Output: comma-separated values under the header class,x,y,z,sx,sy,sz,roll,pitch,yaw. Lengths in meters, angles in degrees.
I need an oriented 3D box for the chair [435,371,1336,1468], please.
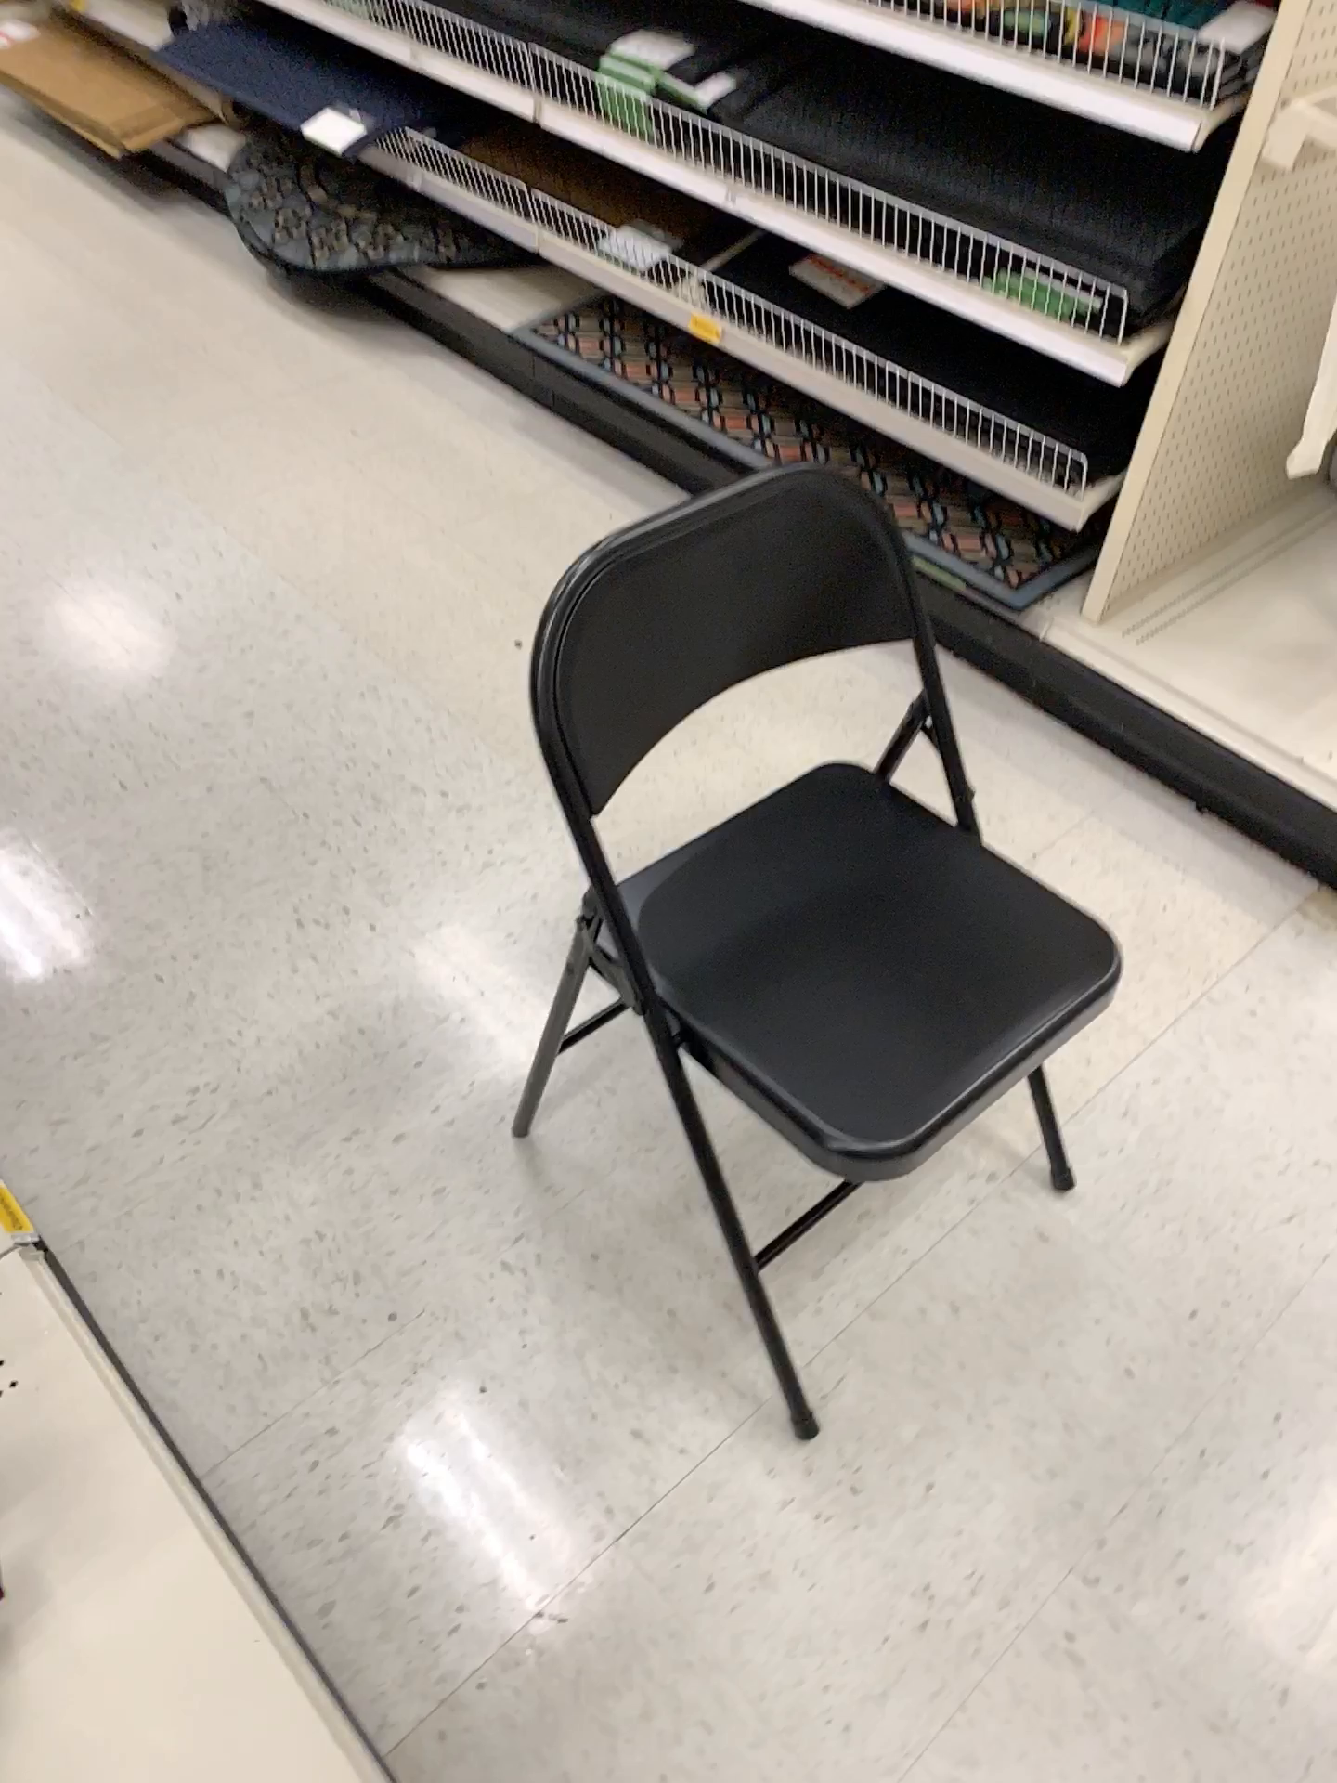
class,x,y,z,sx,sy,sz,roll,pitch,yaw
chair,0.167,0.025,1.277,0.491,0.717,0.551,-32,56,-31
